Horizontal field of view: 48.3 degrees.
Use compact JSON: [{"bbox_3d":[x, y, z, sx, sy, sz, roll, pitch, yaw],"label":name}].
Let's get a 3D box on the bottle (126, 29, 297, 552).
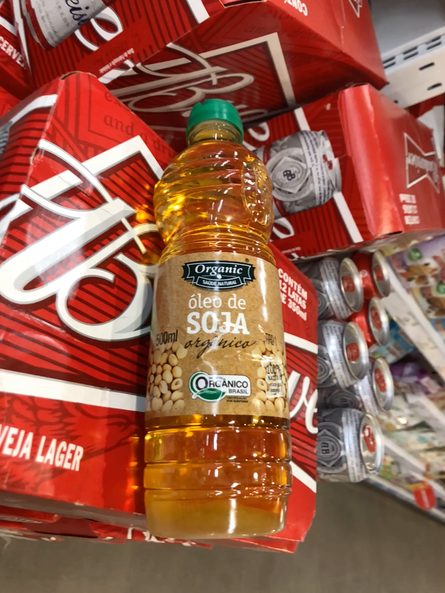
[{"bbox_3d":[-0.004,-0.014,0.243,0.060,0.060,0.240,89,0,-70],"label":"bottle"}]
